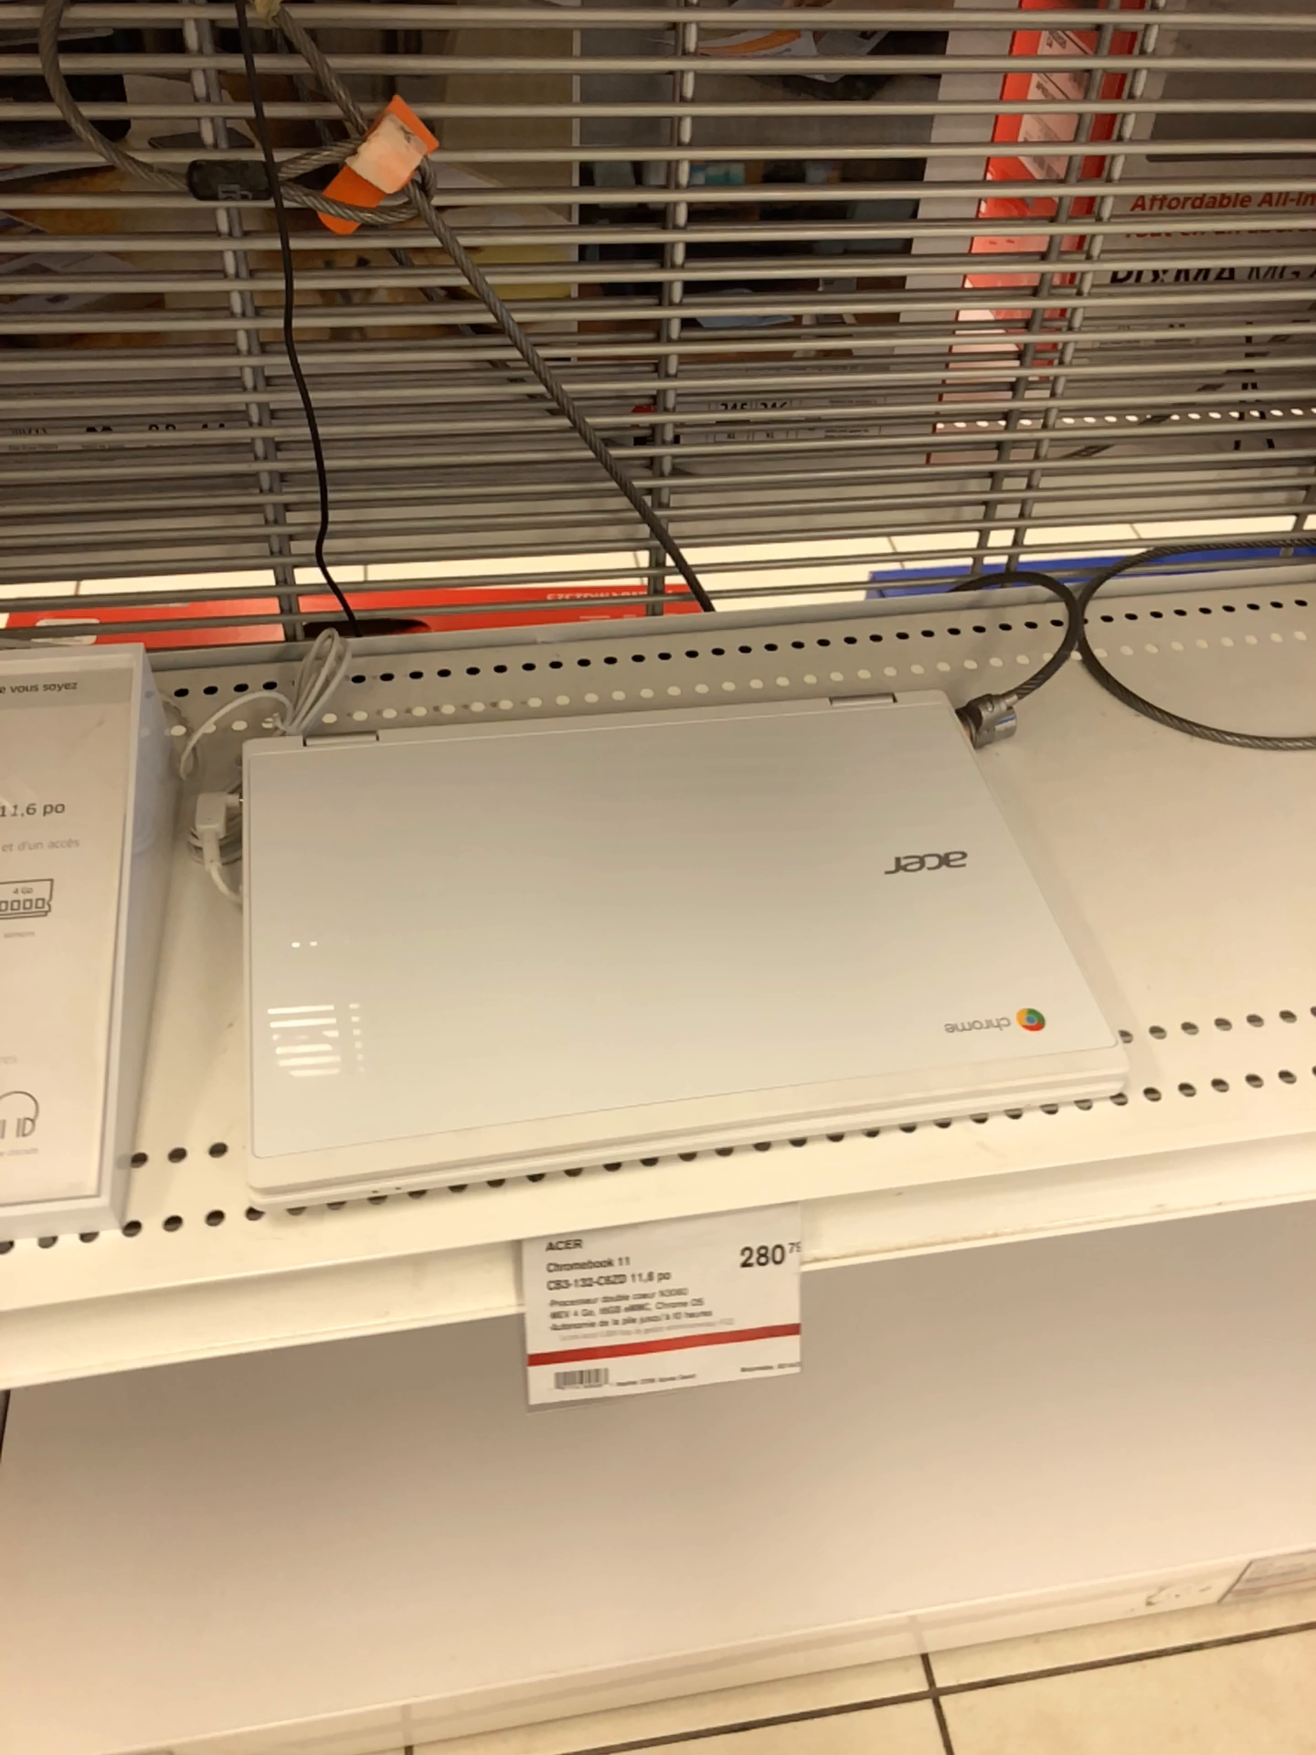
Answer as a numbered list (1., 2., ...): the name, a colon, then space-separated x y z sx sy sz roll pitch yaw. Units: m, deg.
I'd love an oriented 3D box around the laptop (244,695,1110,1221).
1. laptop: -0.003 0.018 0.542 0.286 0.024 0.184 -6 54 -9
